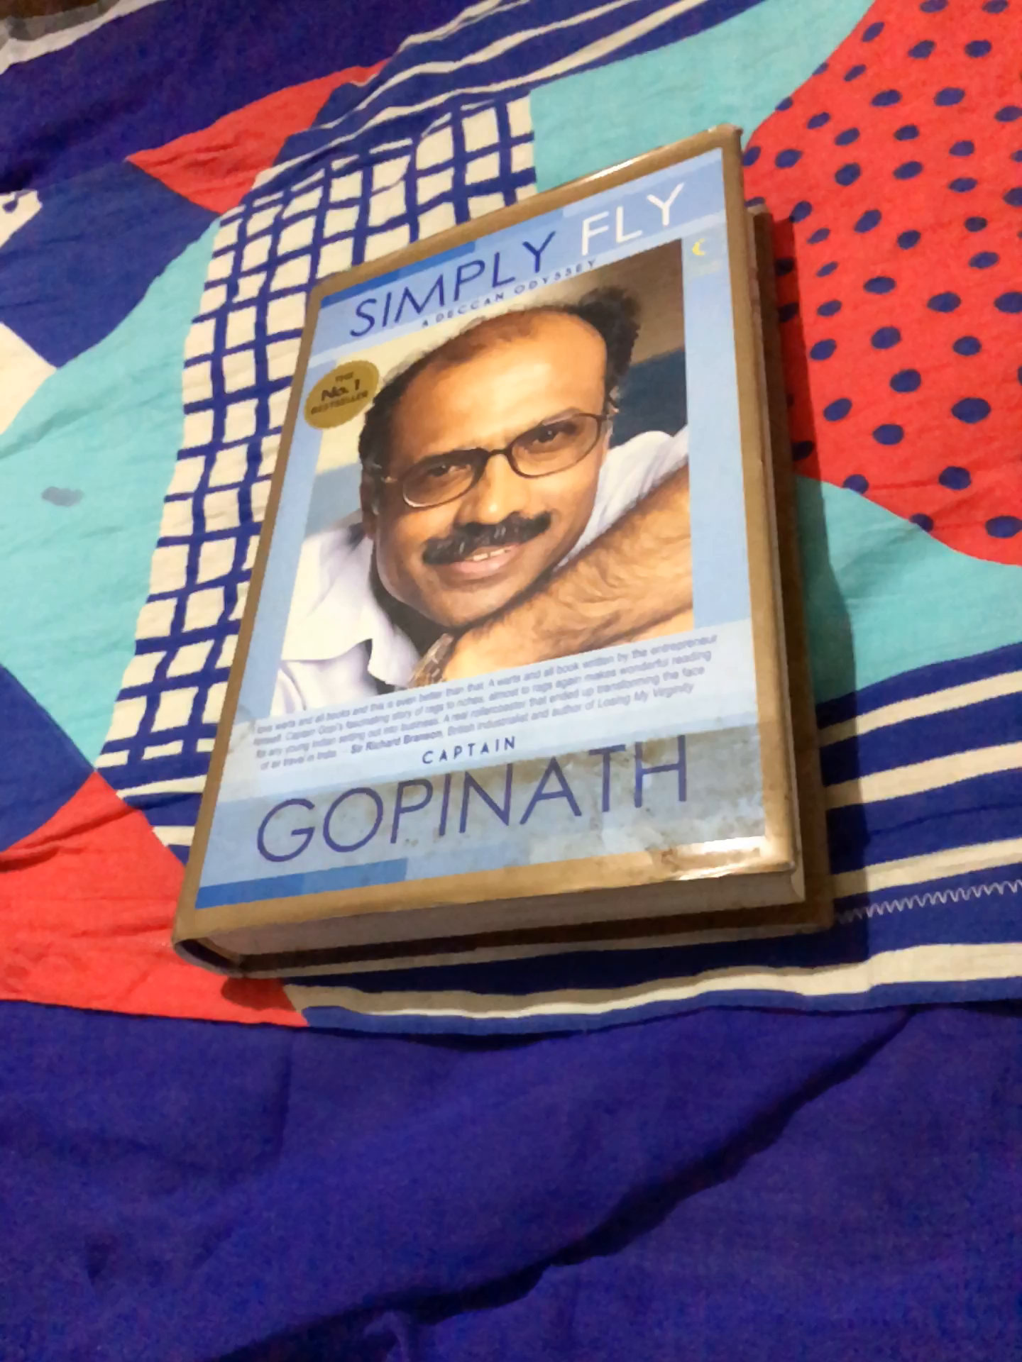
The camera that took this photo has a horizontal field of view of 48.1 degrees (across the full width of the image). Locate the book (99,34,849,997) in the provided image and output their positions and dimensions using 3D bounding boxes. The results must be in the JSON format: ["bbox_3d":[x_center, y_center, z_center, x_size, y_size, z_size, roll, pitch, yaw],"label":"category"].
[{"bbox_3d":[-0.007,-0.050,0.314,0.160,0.050,0.250,-11,58,22],"label":"book"}]
